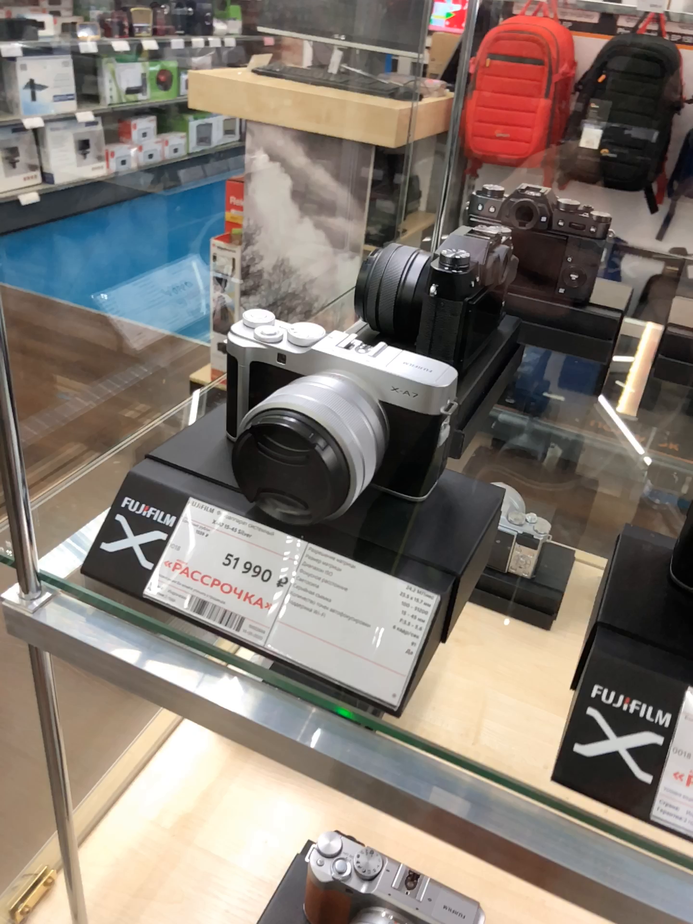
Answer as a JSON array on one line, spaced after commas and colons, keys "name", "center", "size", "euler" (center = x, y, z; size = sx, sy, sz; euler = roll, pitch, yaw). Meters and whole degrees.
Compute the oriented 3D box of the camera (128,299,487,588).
[{"name": "camera", "center": [-0.017, -0.017, 0.367], "size": [0.133, 0.066, 0.101], "euler": [19, 34, 19]}]
